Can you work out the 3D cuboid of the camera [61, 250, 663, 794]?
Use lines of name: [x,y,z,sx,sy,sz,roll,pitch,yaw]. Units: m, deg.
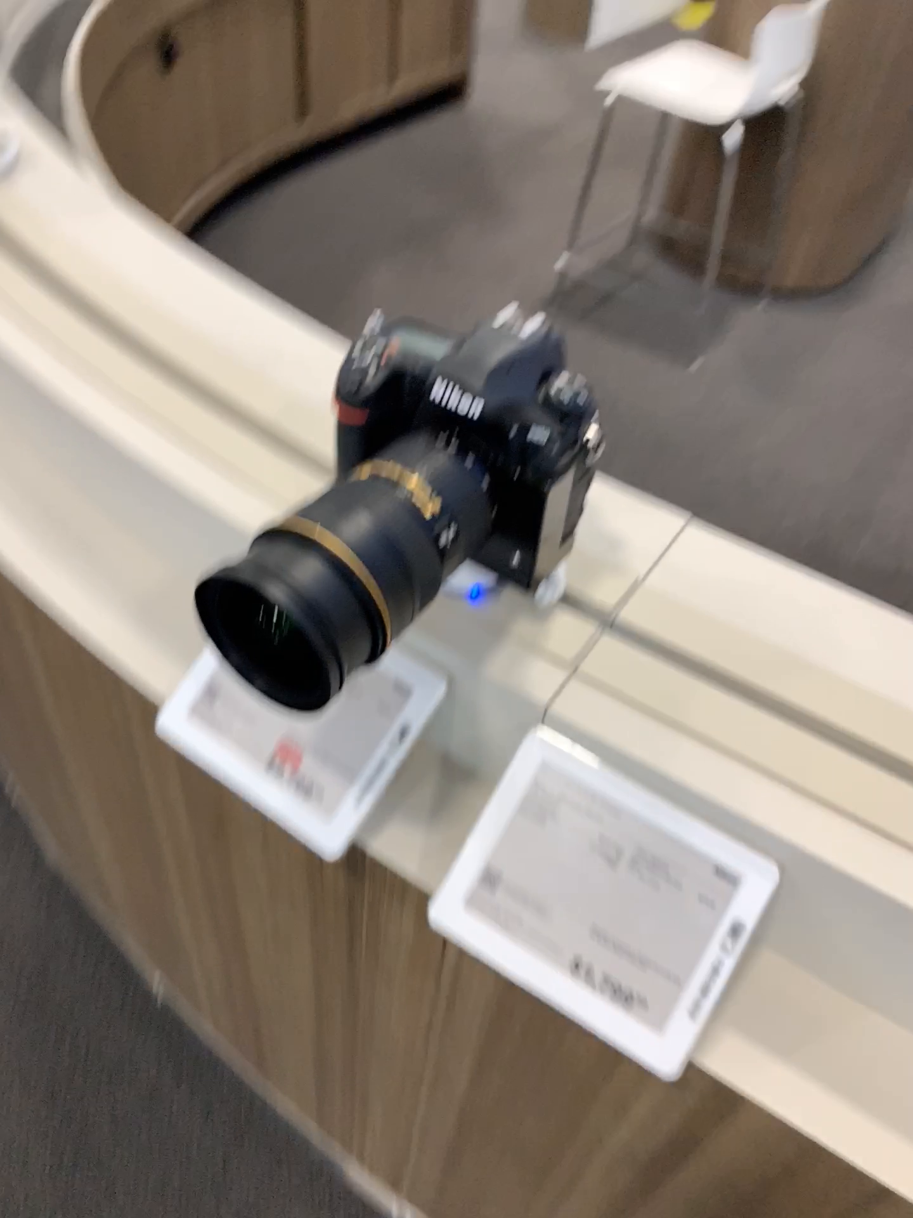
camera: [-0.033,-0.061,0.472,0.160,0.110,0.241,29,49,20]
